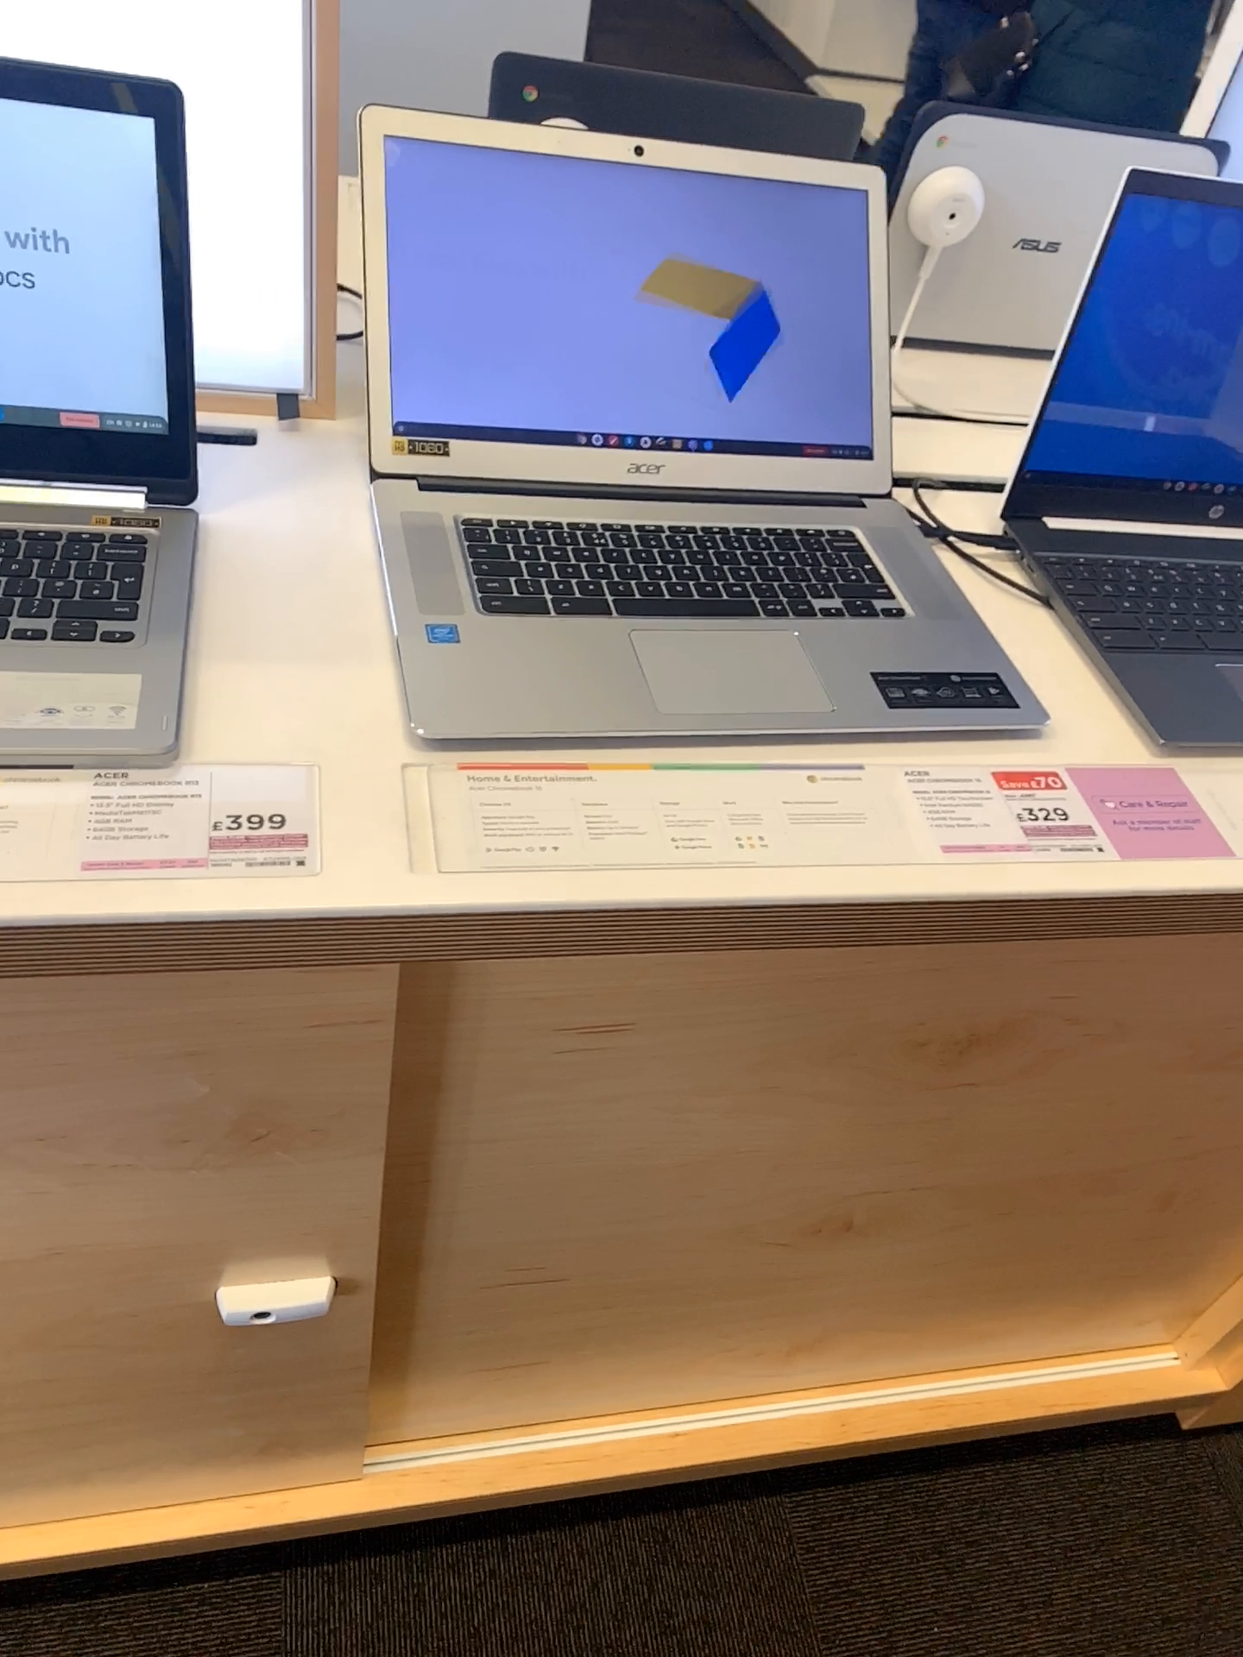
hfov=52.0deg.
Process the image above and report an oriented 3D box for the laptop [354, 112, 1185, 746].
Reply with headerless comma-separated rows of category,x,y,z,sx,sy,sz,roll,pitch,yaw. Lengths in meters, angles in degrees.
laptop,0.042,-0.261,0.789,0.375,0.168,0.433,-2,45,-16
